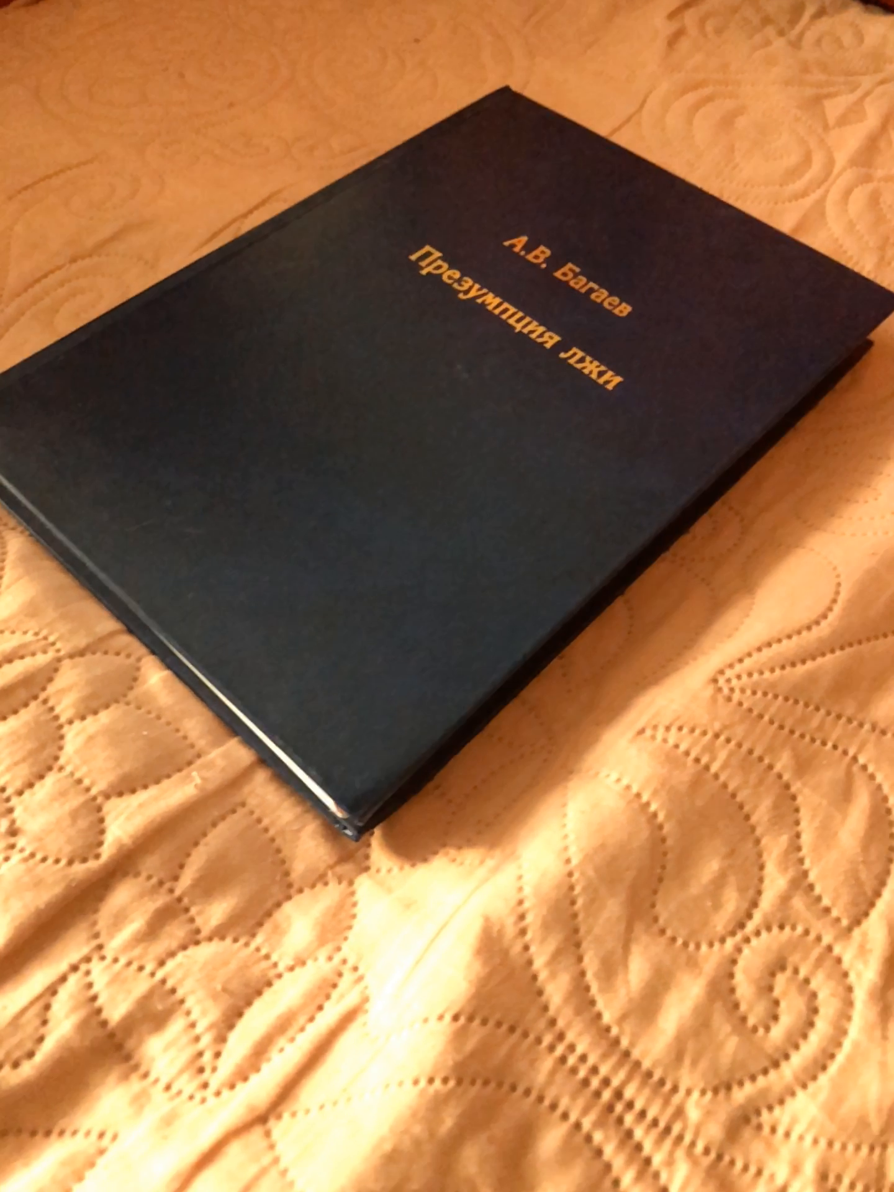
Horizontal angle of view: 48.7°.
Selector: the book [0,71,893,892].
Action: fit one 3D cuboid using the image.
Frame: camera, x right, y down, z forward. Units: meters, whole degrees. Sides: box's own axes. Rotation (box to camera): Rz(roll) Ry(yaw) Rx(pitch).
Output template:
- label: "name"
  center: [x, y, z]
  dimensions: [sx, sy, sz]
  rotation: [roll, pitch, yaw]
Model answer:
- label: "book"
  center: [0.003, -0.068, 0.312]
  dimensions: [0.180, 0.030, 0.261]
  rotation: [39, 63, 22]
